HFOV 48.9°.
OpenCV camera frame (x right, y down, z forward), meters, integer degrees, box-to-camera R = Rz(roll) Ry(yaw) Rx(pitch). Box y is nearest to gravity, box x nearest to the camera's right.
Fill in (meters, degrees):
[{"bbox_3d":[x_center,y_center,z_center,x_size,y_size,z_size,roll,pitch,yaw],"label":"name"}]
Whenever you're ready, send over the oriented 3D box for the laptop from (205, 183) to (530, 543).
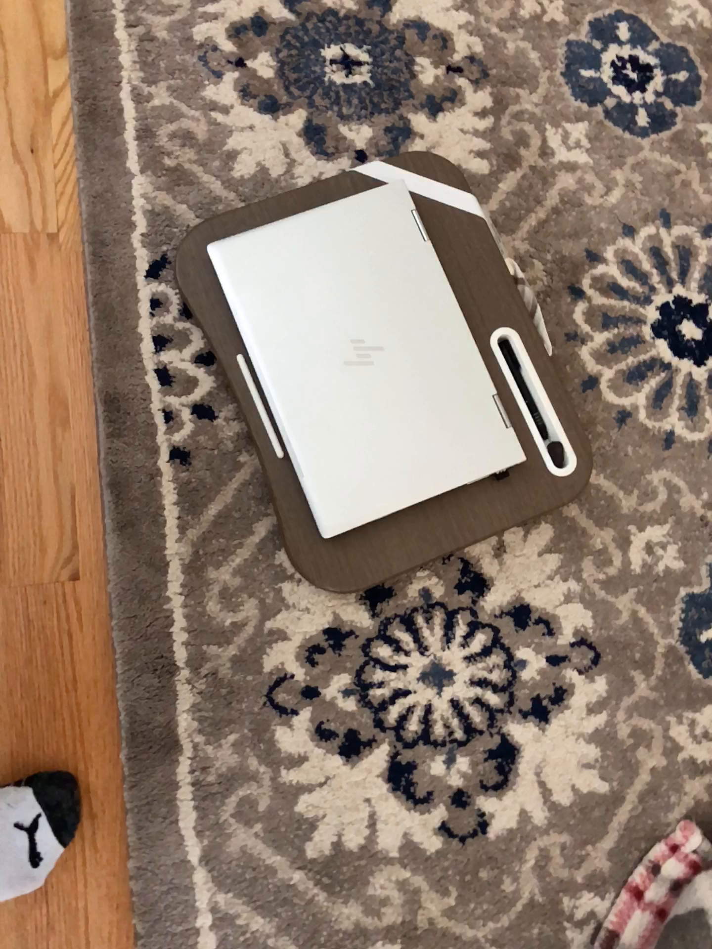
[{"bbox_3d":[0.009,-0.132,0.872,0.241,0.026,0.354,-21,81,-10],"label":"laptop"}]
